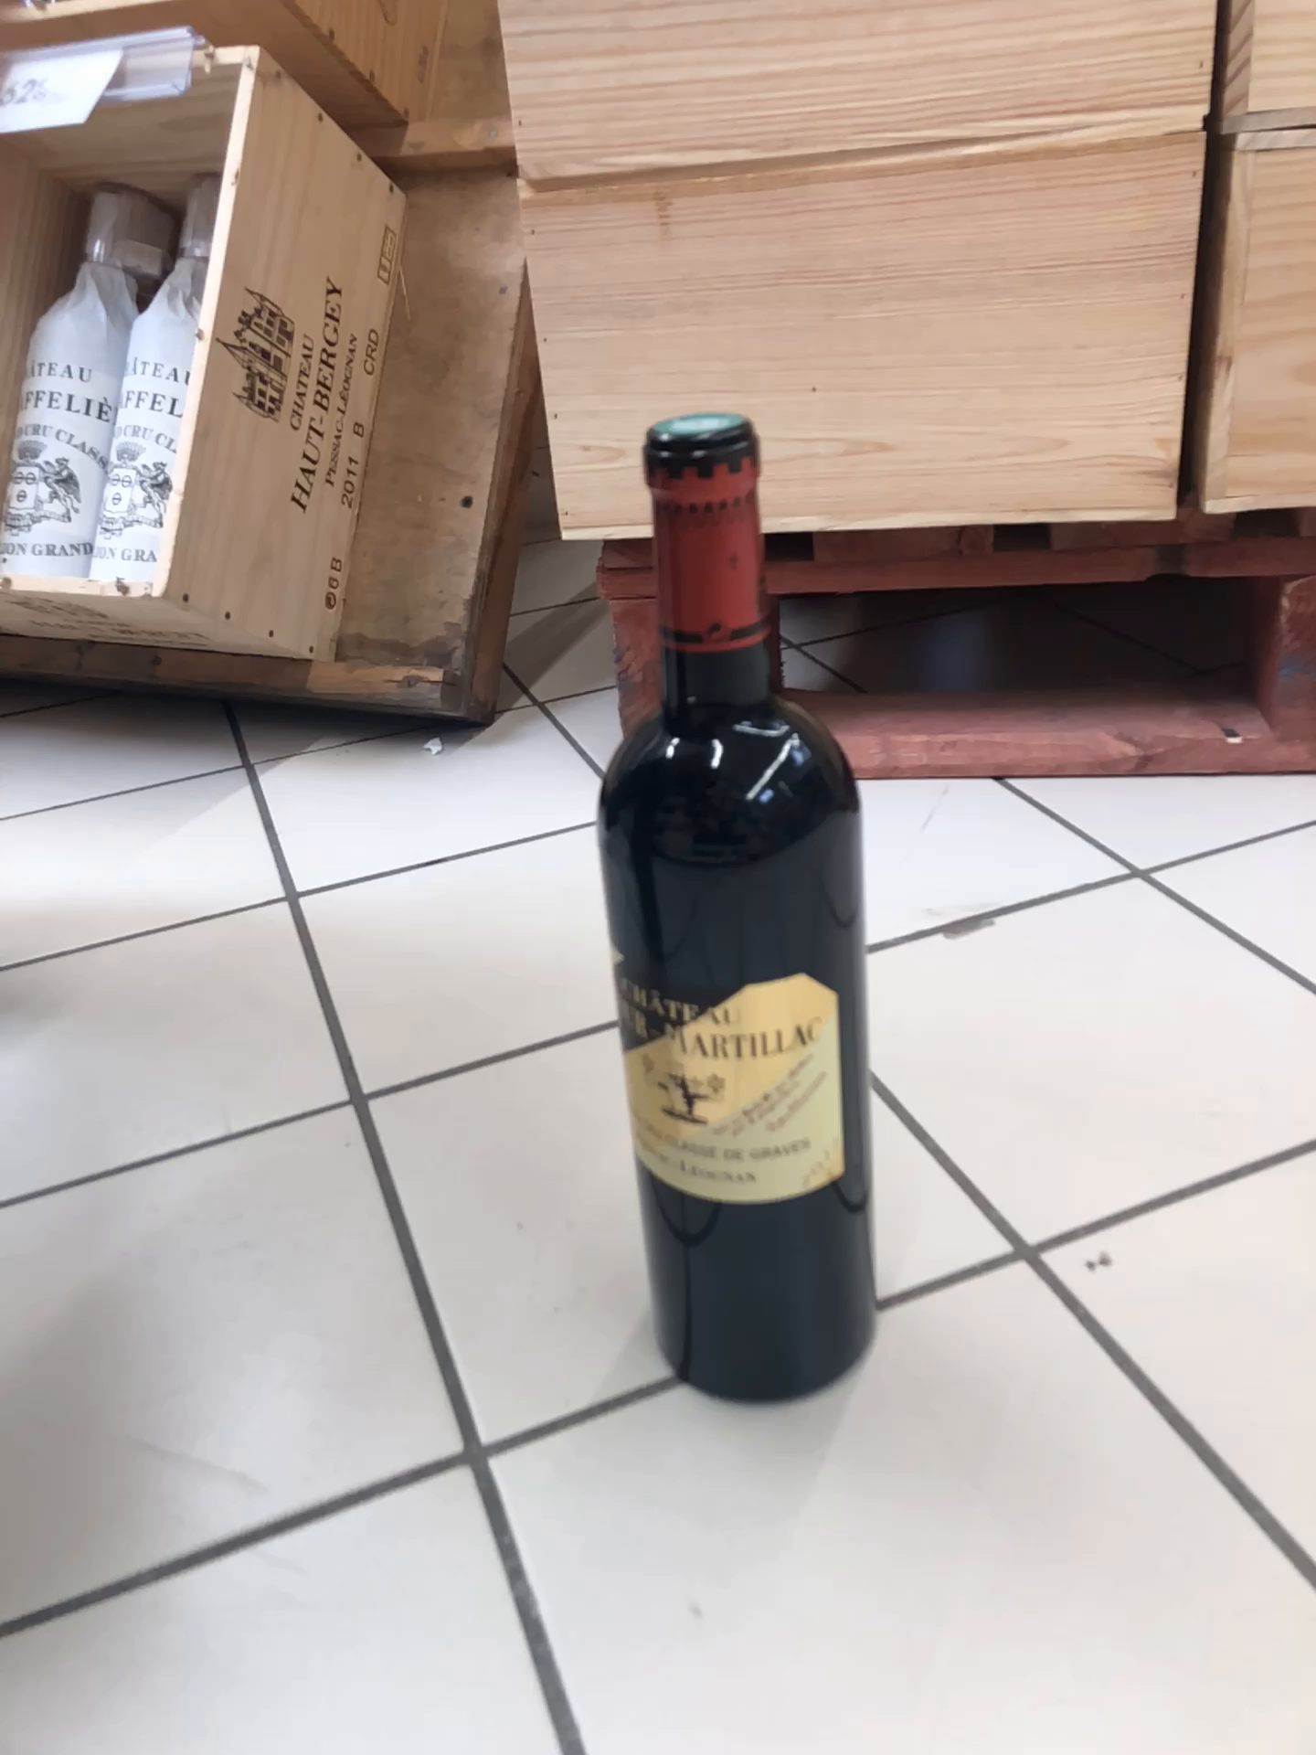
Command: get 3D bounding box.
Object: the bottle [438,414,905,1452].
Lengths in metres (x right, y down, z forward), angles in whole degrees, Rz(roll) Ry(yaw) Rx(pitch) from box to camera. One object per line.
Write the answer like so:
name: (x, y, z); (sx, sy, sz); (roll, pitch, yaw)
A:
bottle: (0.016, 0.022, 0.405); (0.080, 0.278, 0.080); (-4, 28, 2)
